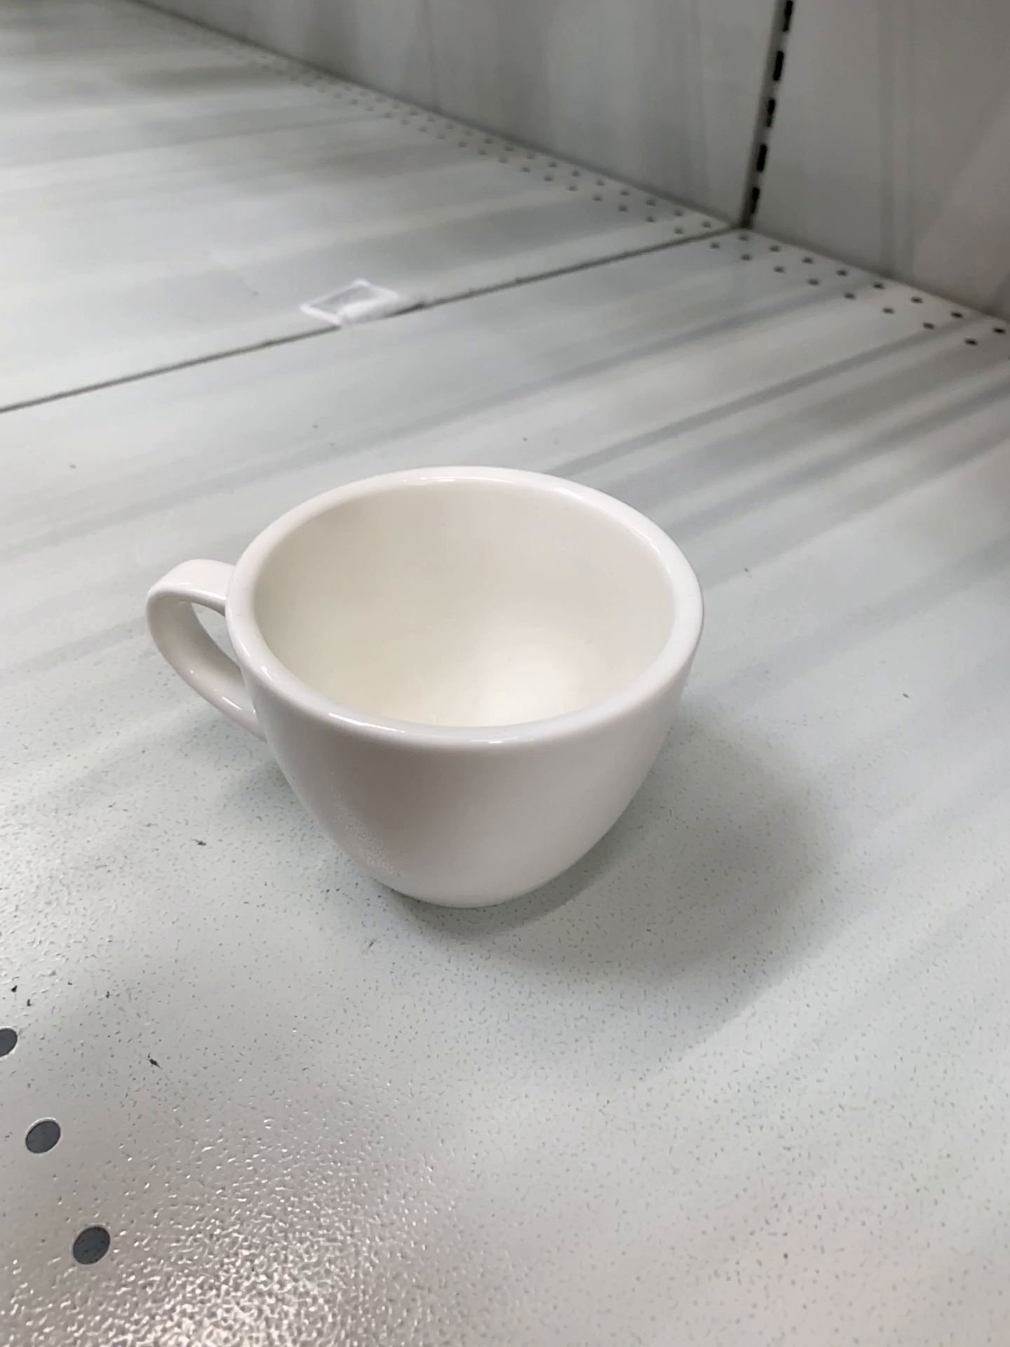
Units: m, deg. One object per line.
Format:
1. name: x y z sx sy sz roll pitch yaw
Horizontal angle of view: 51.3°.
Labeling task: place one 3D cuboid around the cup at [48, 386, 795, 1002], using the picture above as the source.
1. cup: -0.016 -0.006 0.248 0.132 0.062 0.095 21 43 20
